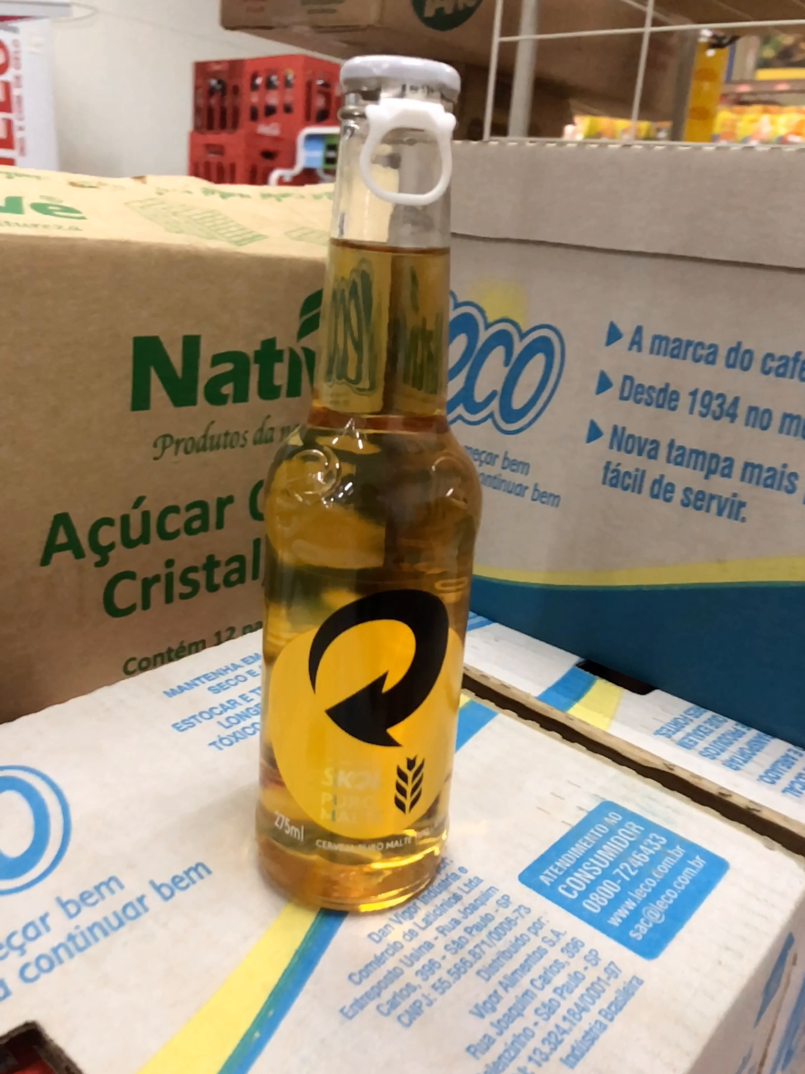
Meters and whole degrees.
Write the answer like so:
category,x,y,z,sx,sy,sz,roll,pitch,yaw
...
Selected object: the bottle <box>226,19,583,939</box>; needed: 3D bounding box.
category,x,y,z,sx,sy,sz,roll,pitch,yaw
bottle,-0.009,-0.008,0.233,0.060,0.209,0.060,4,18,-1
